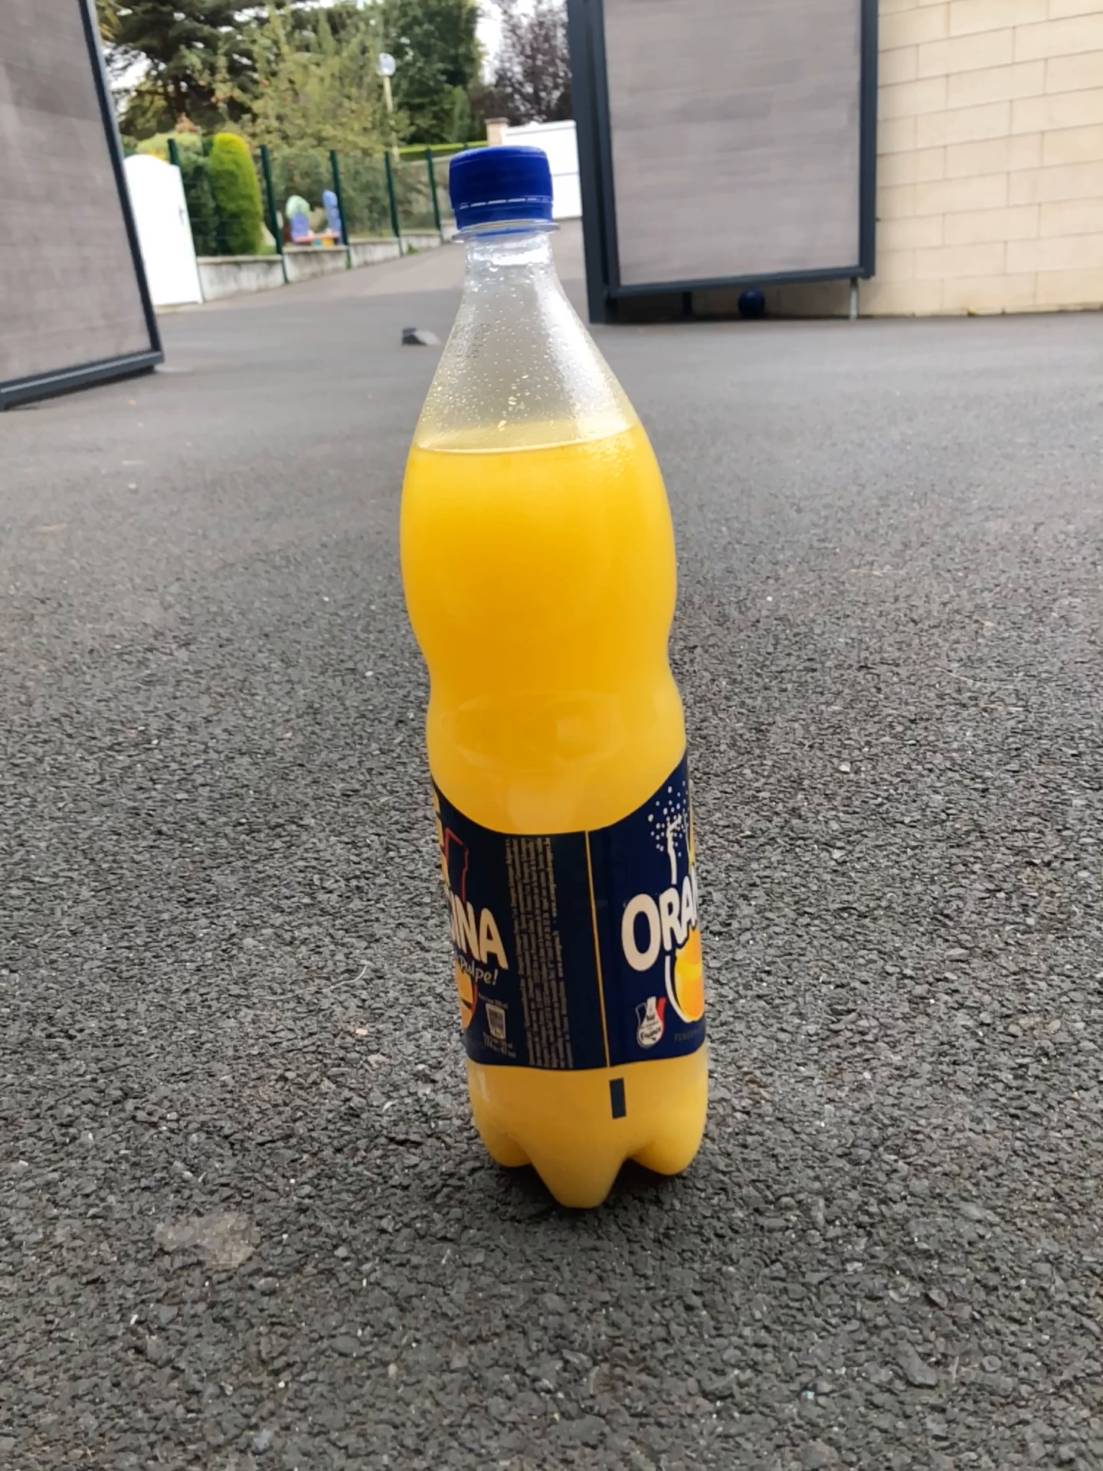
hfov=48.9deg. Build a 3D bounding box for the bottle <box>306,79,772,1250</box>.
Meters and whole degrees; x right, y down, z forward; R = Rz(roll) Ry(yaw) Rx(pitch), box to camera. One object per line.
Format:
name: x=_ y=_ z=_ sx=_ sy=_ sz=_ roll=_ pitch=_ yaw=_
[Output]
bottle: x=0.005 y=-0.010 z=0.391 sx=0.100 sy=0.338 sz=0.100 roll=-5 pitch=21 yaw=2
